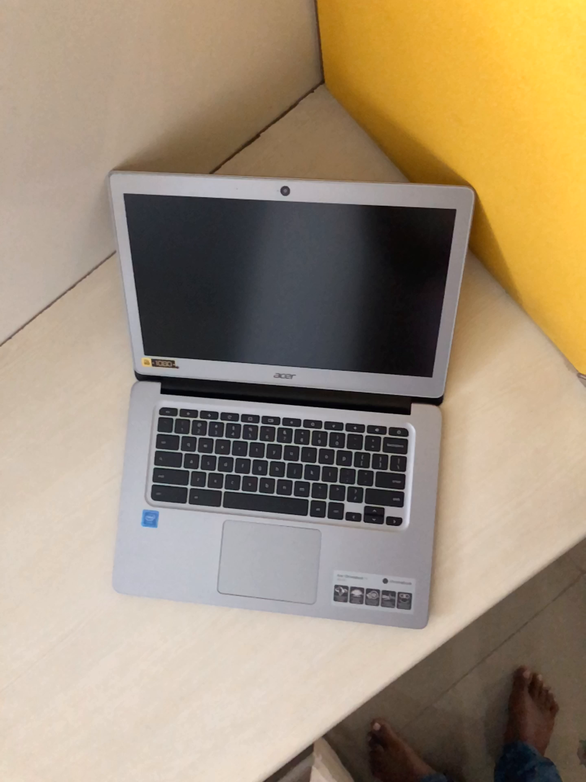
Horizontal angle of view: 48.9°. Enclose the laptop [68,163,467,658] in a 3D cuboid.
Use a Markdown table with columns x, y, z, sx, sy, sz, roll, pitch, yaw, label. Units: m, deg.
| x | y | z | sx | sy | sz | roll | pitch | yaw | label |
| --- | --- | --- | --- | --- | --- | --- | --- | --- | --- |
| -0.020 | 0.012 | 0.627 | 0.319 | 0.124 | 0.409 | 5 | 89 | 6 | laptop |
